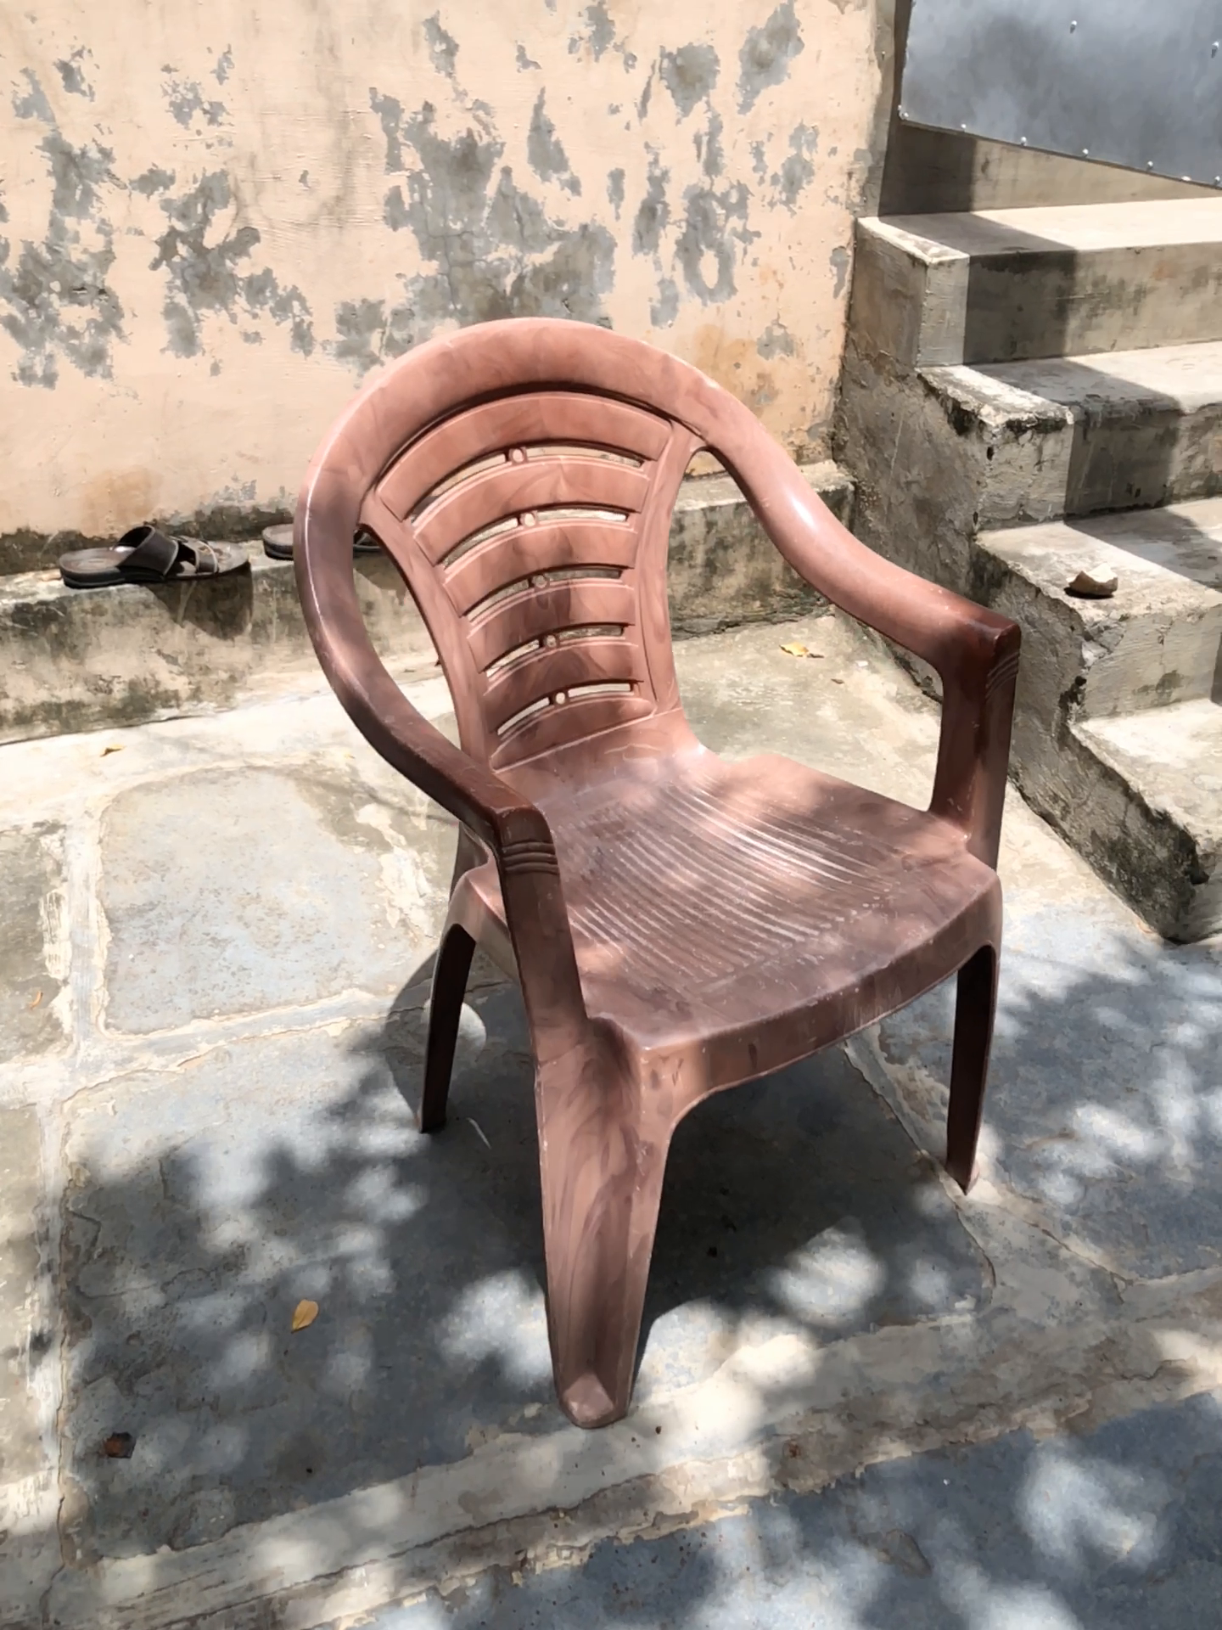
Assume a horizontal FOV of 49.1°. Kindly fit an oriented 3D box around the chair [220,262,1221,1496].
[{"bbox_3d":[0.093,0.007,1.174,0.582,0.766,0.541,-21,41,-29],"label":"chair"}]
